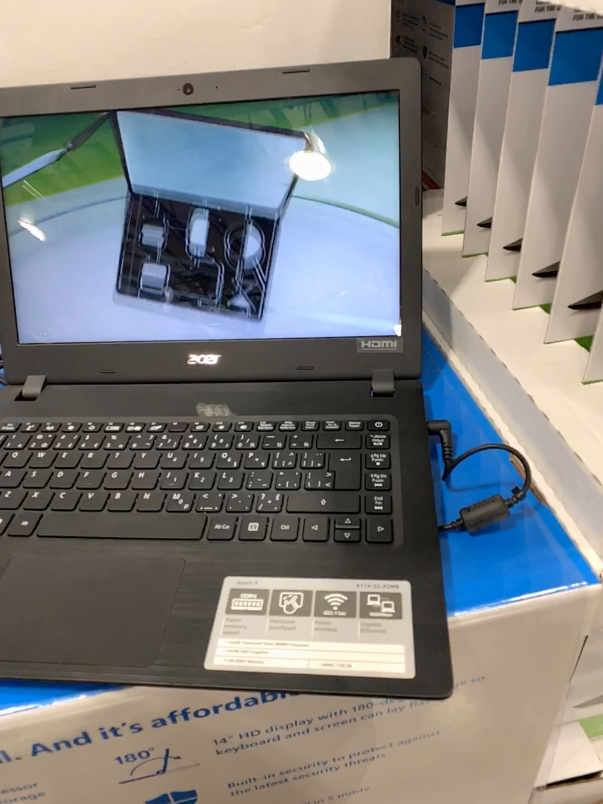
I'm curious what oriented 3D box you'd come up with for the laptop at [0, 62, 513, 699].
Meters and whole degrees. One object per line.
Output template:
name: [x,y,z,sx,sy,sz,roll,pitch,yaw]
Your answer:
laptop: [-0.085,-0.048,0.352,0.318,0.186,0.329,0,38,7]
